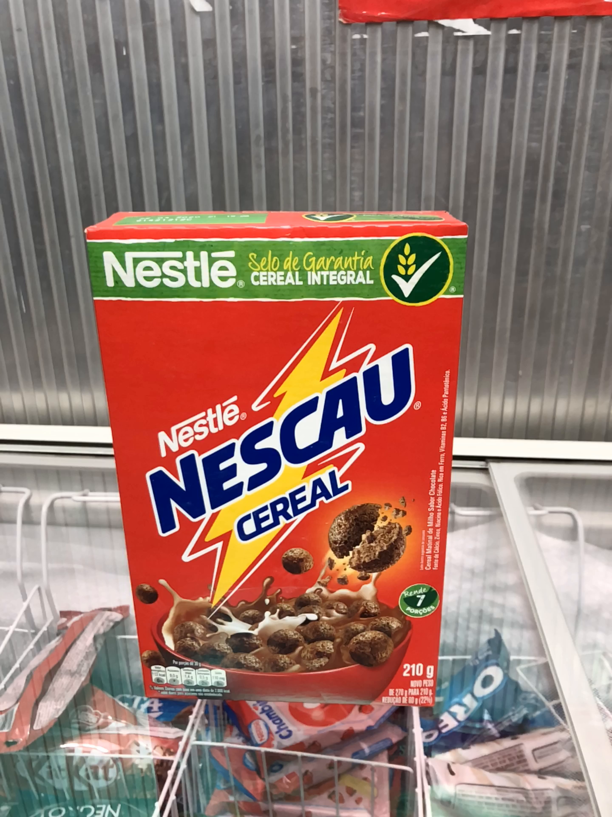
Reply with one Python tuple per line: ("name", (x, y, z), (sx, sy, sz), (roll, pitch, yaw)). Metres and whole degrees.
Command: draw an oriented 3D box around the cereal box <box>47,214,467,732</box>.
("cereal box", (-0.018, 0.040, 0.342), (0.170, 0.258, 0.050), (1, 21, 5))
